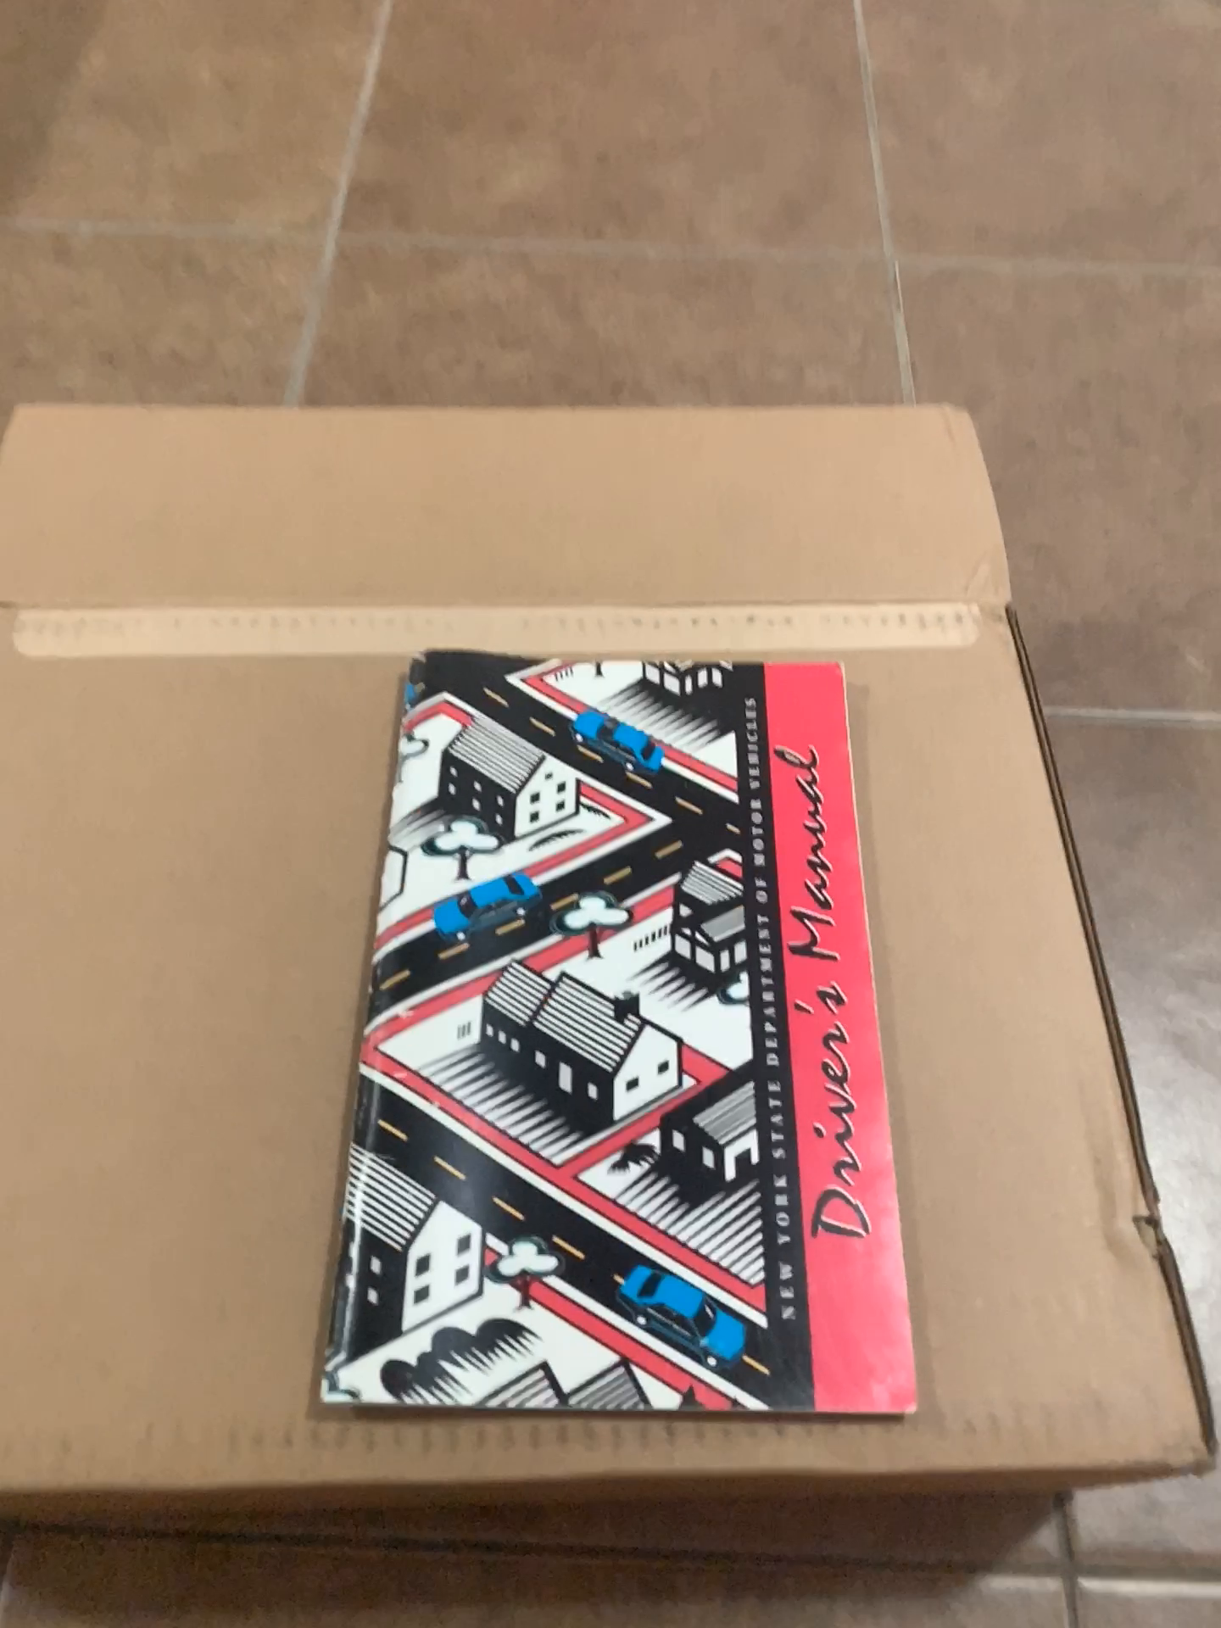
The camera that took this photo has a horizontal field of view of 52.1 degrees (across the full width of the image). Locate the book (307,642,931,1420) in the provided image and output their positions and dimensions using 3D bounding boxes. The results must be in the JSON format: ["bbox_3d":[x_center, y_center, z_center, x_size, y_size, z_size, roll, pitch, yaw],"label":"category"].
[{"bbox_3d":[0.003,0.042,0.326,0.133,0.013,0.207,1,59,0],"label":"book"}]
